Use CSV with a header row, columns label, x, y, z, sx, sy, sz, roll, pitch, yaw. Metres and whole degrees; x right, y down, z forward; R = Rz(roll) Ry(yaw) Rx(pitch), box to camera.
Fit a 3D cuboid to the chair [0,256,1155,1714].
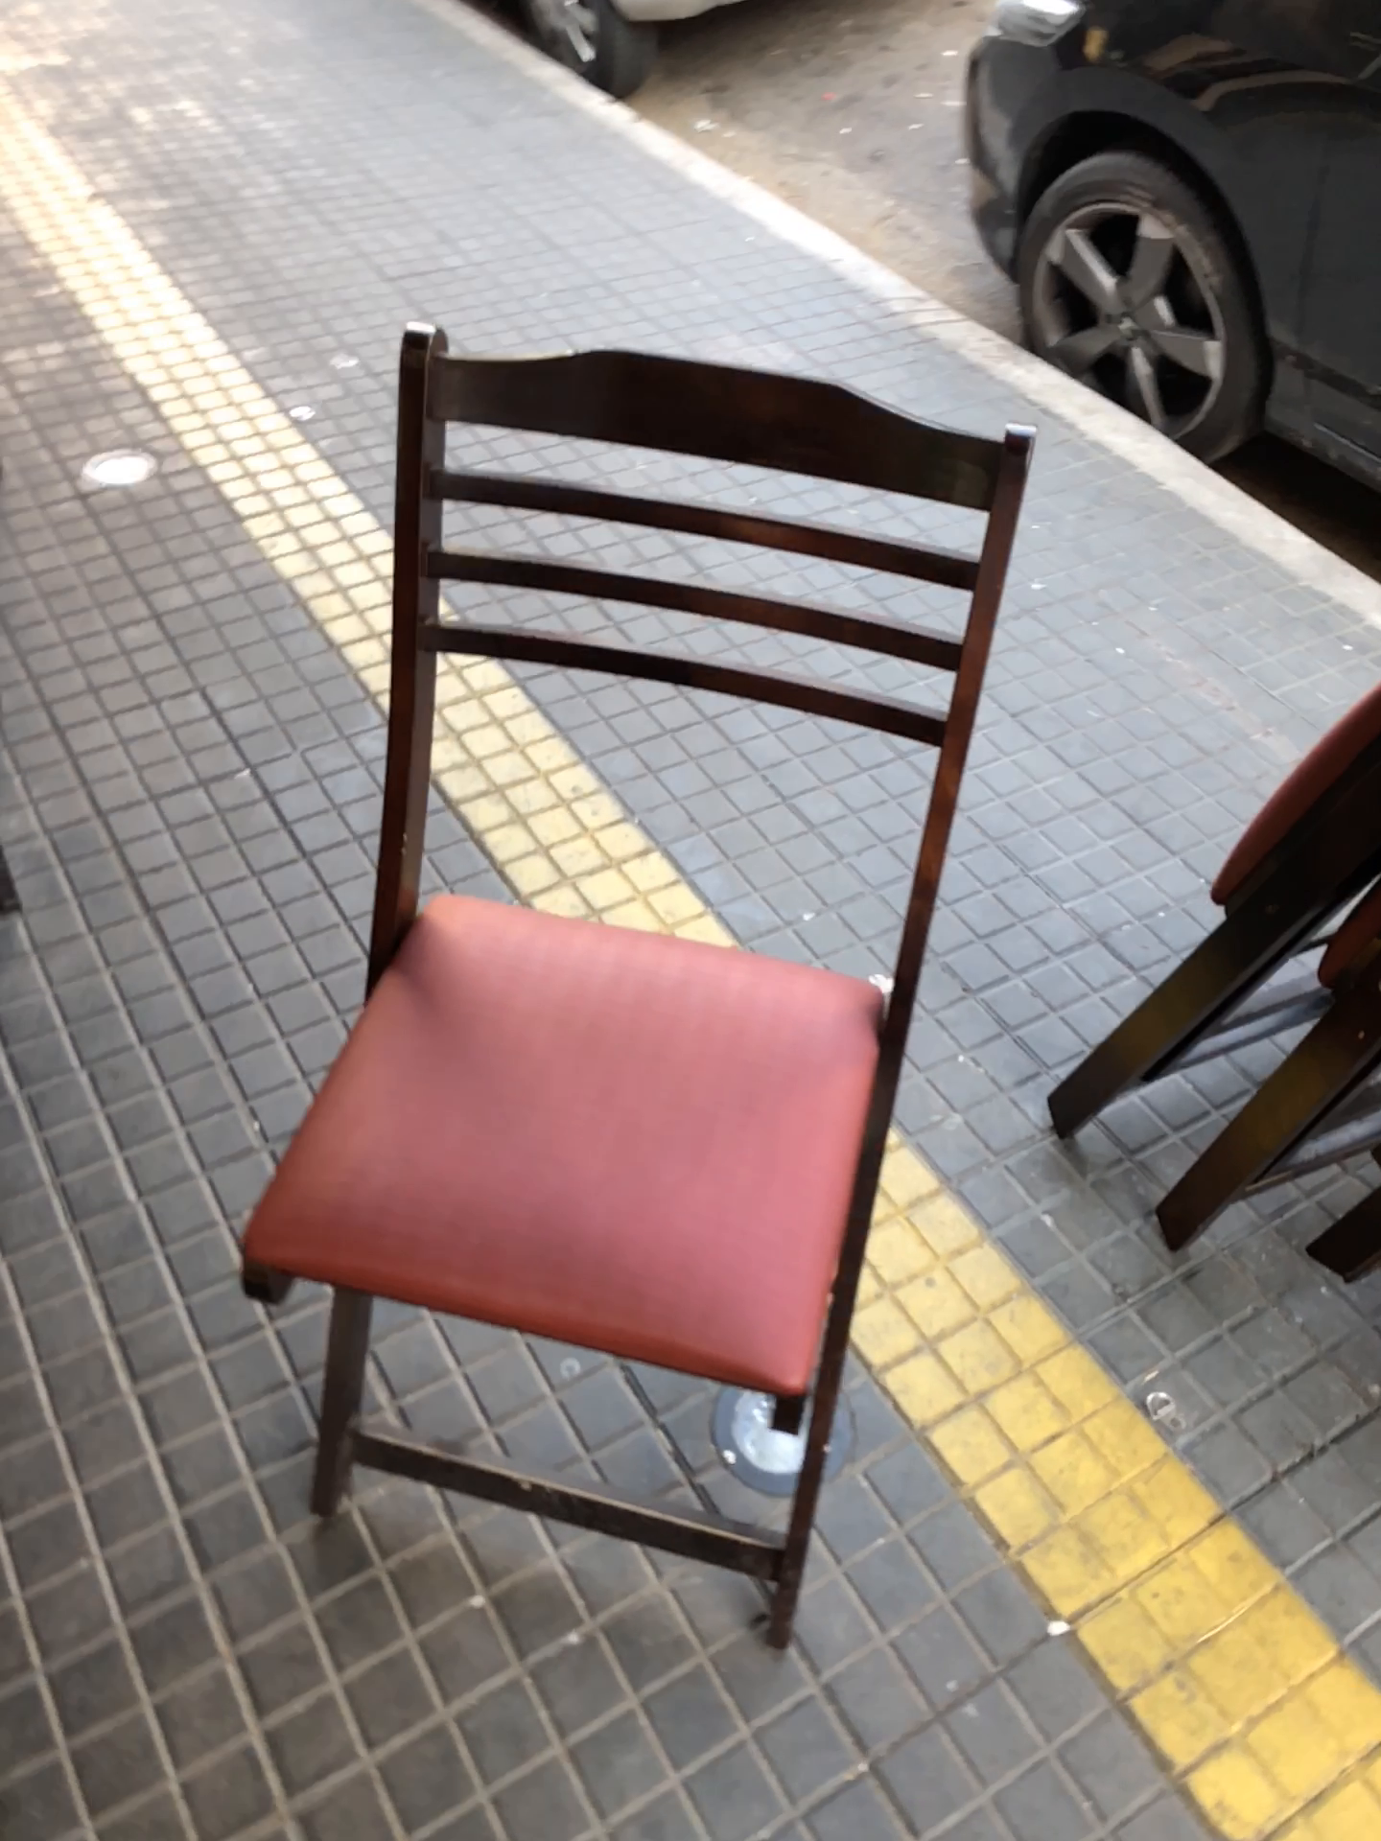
label,x,y,z,sx,sy,sz,roll,pitch,yaw
chair,-0.051,0.094,1.043,0.510,0.844,0.483,11,47,9
